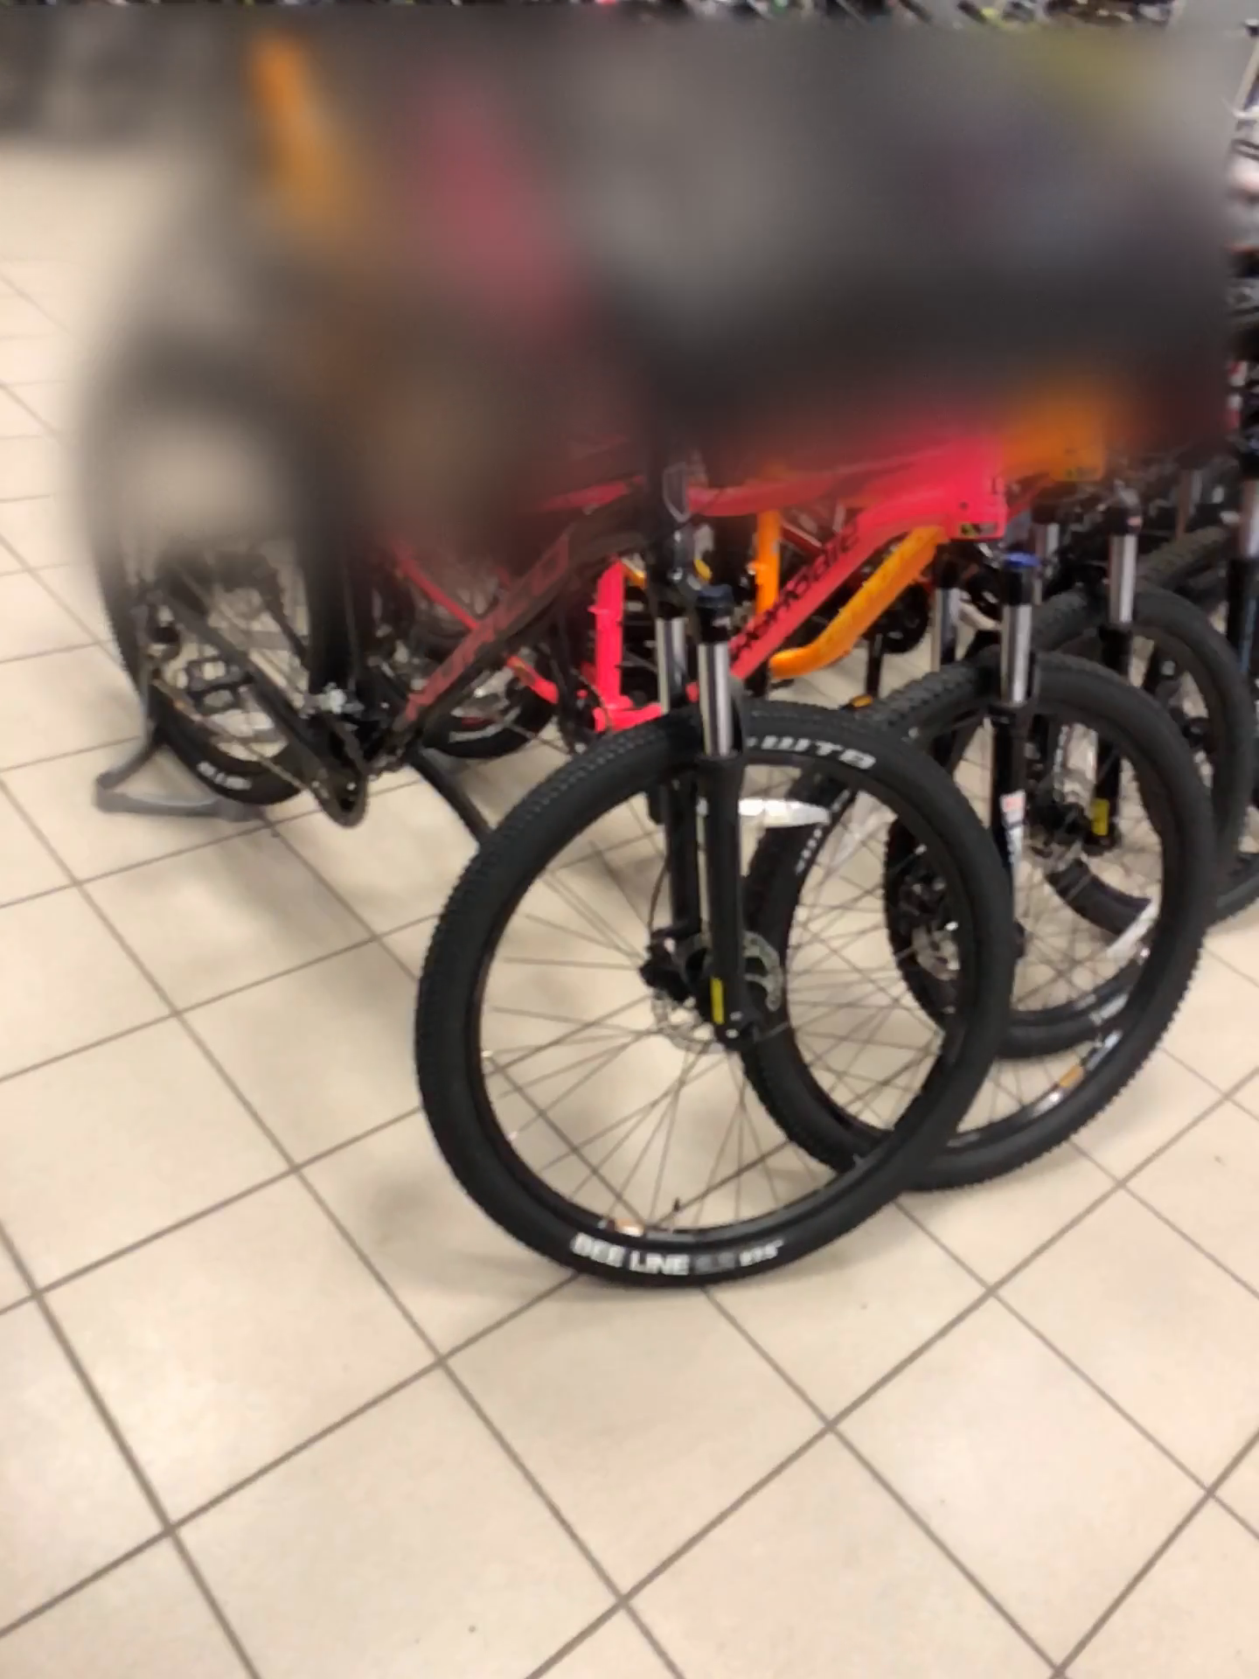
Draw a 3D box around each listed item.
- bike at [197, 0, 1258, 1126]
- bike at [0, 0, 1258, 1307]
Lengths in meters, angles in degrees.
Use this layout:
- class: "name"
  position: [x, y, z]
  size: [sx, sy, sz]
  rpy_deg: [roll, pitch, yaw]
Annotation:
- class: "bike"
  position: [0.211, -0.473, 2.036]
  size: [1.566, 1.074, 0.655]
  rpy_deg: [30, 38, 25]
- class: "bike"
  position: [-0.111, -0.349, 1.820]
  size: [1.581, 1.101, 0.687]
  rpy_deg: [32, 39, 23]
